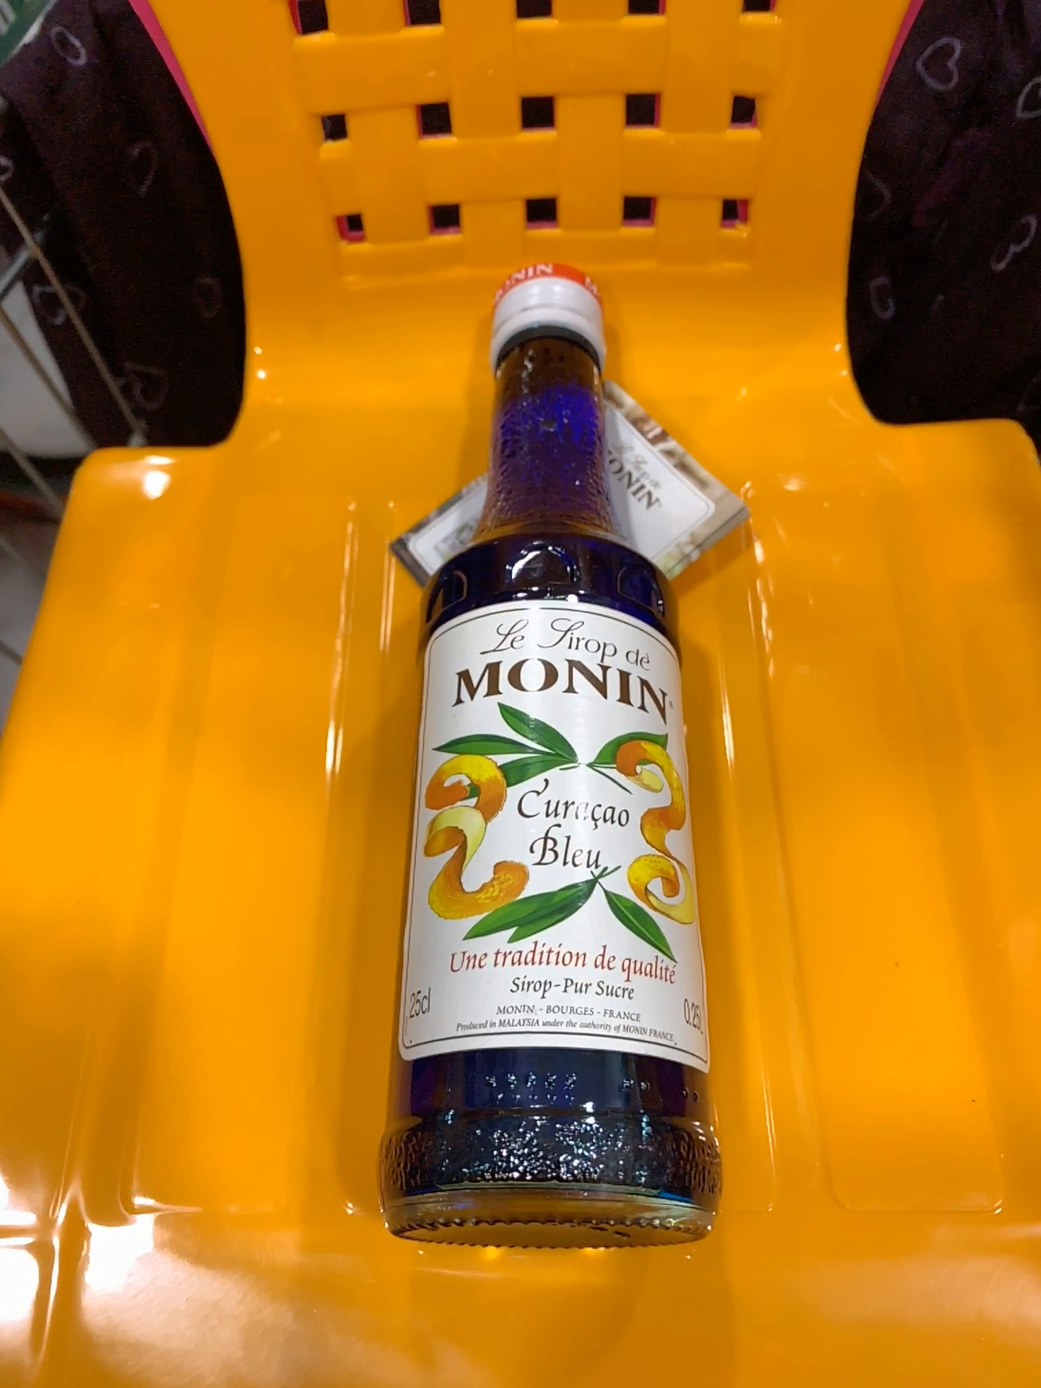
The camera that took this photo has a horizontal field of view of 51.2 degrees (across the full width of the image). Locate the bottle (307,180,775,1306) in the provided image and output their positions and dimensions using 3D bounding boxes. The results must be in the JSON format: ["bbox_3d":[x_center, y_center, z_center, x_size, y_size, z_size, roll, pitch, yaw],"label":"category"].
[{"bbox_3d":[0.005,-0.007,0.215,0.060,0.050,0.220,3,61,-2],"label":"bottle"}]
